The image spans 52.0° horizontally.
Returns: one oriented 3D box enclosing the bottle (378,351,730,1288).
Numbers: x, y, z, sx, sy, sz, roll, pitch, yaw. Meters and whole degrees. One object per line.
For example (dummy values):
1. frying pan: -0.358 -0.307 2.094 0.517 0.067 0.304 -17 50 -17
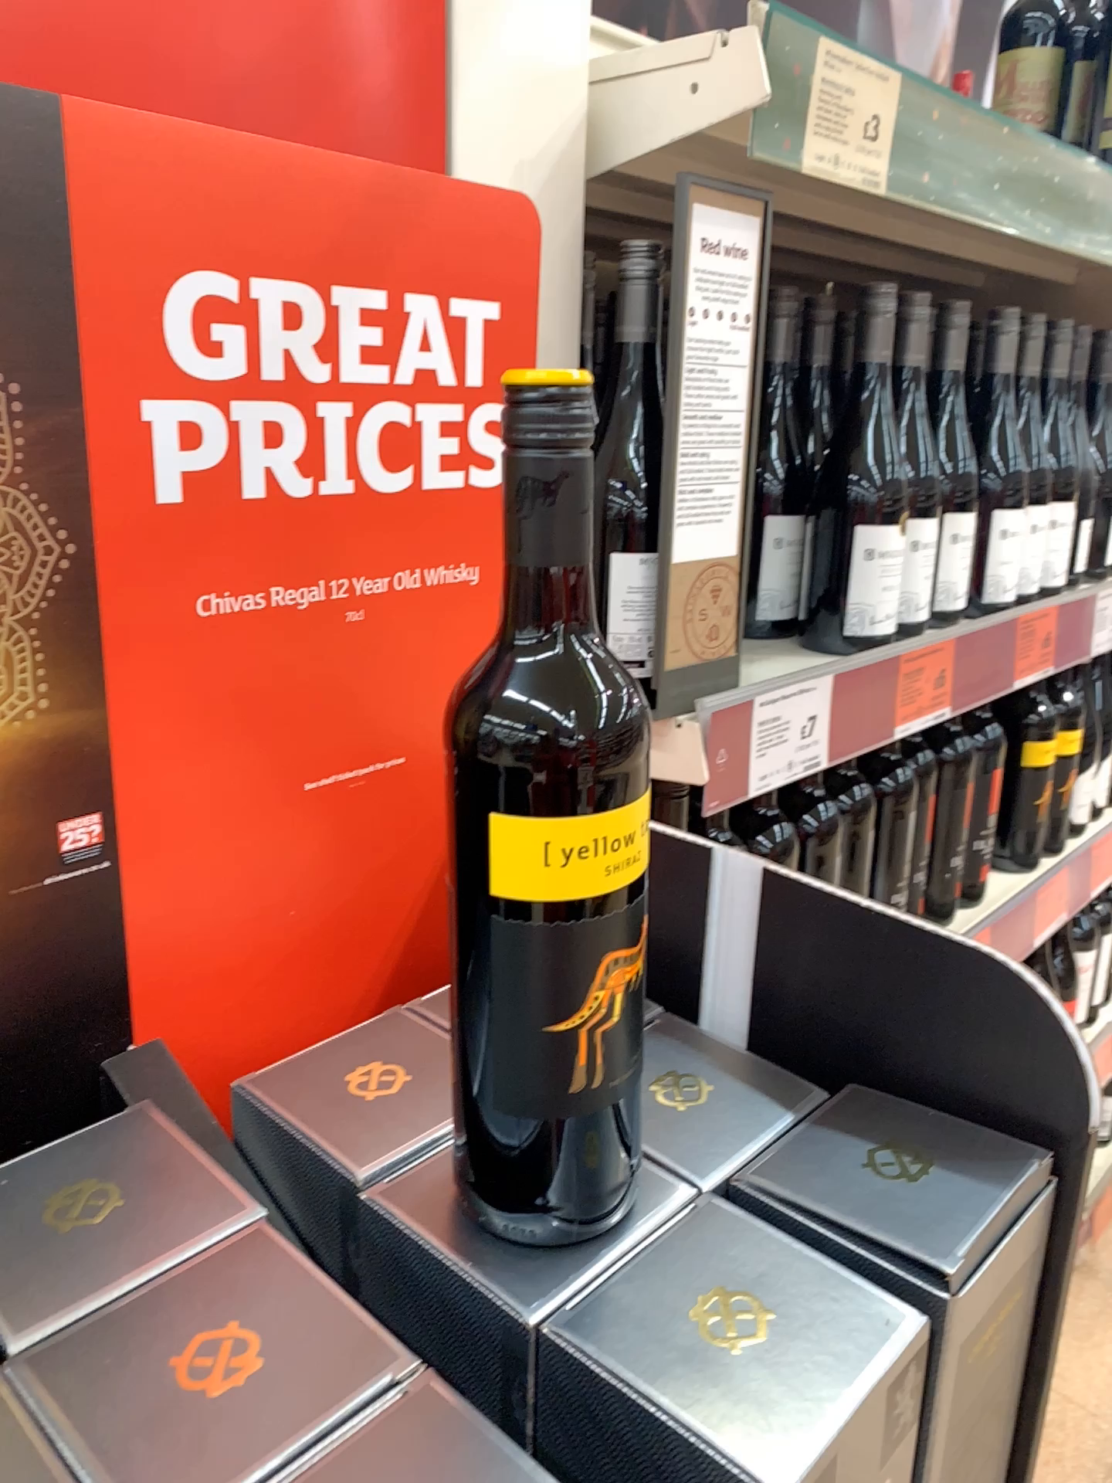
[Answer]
1. bottle: -0.007 0.025 0.404 0.081 0.305 0.077 2 16 -1
